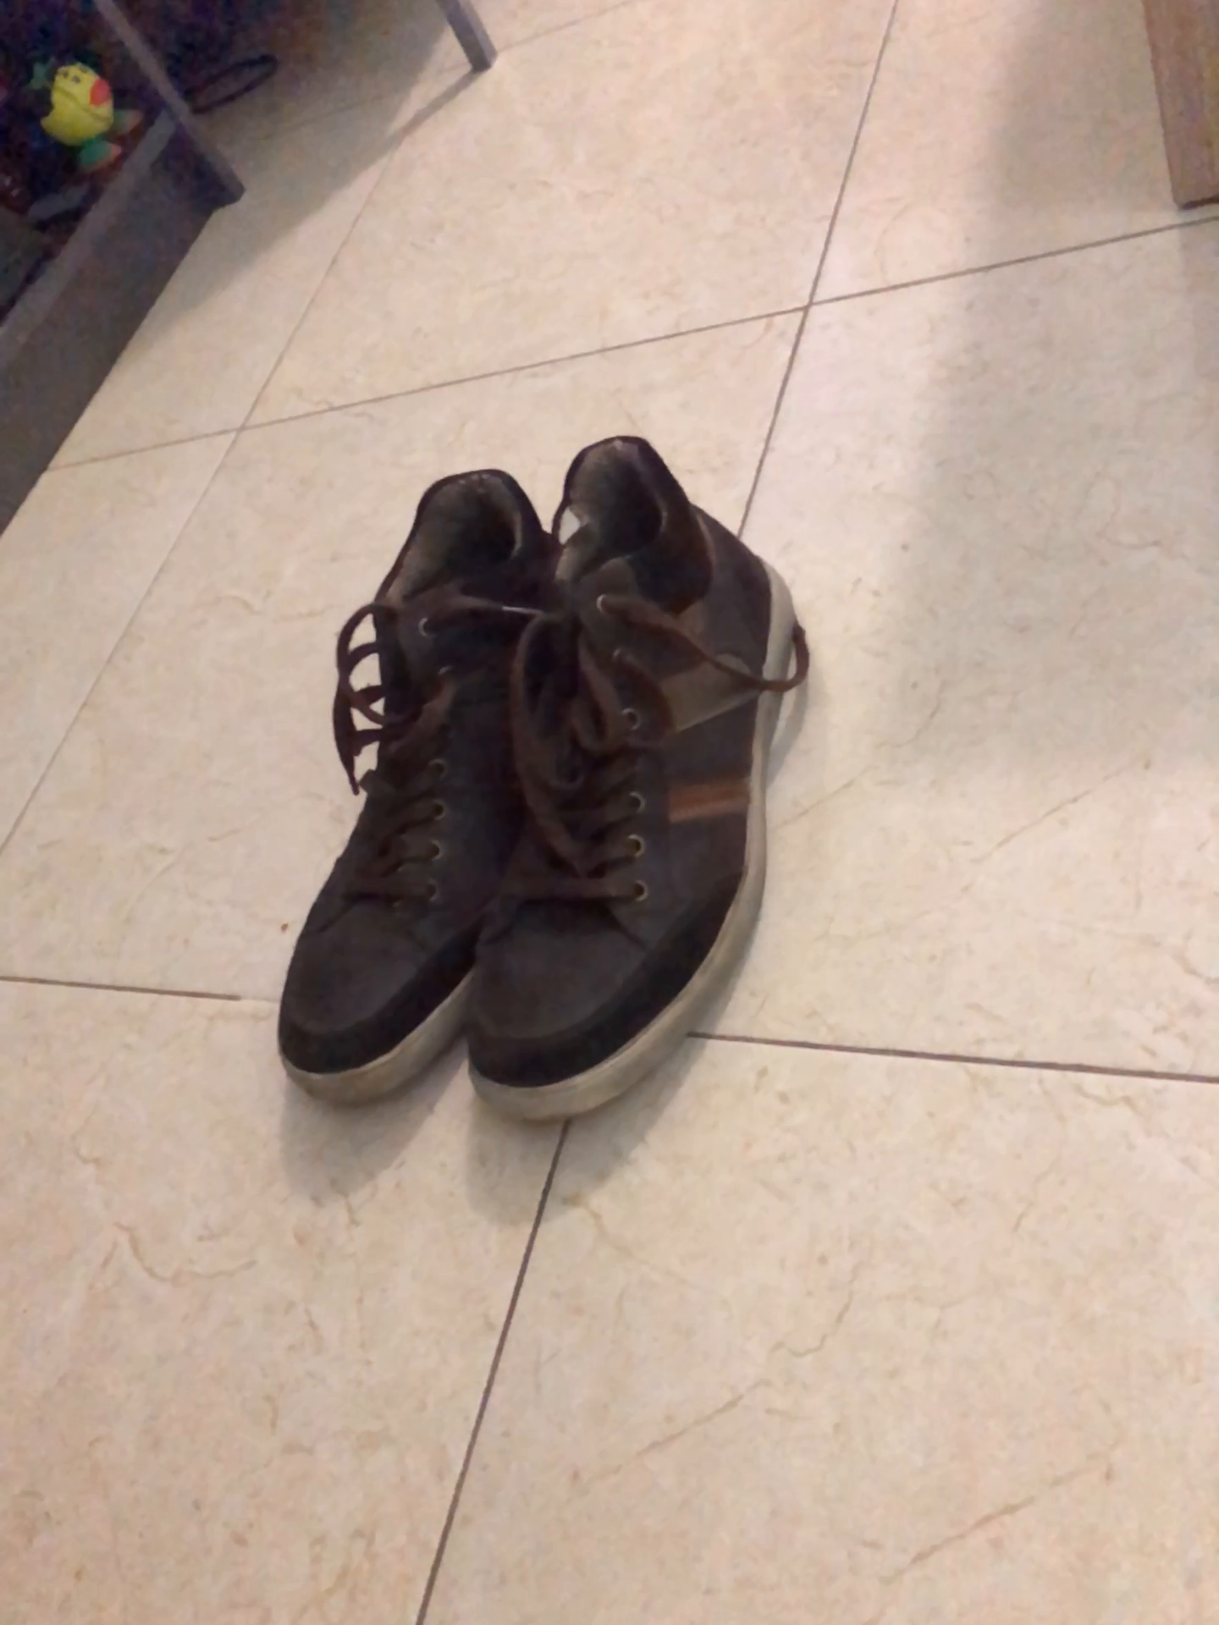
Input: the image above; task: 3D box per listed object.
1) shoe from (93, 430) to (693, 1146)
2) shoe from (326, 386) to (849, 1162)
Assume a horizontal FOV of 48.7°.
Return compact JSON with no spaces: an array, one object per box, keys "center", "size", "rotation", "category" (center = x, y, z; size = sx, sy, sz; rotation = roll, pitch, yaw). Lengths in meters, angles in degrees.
[{"center":[-0.083,-0.021,0.616],"size":[0.120,0.110,0.300],"rotation":[4,59,34],"category":"shoe"},{"center":[0.008,-0.022,0.564],"size":[0.120,0.110,0.301],"rotation":[-5,55,29],"category":"shoe"}]
